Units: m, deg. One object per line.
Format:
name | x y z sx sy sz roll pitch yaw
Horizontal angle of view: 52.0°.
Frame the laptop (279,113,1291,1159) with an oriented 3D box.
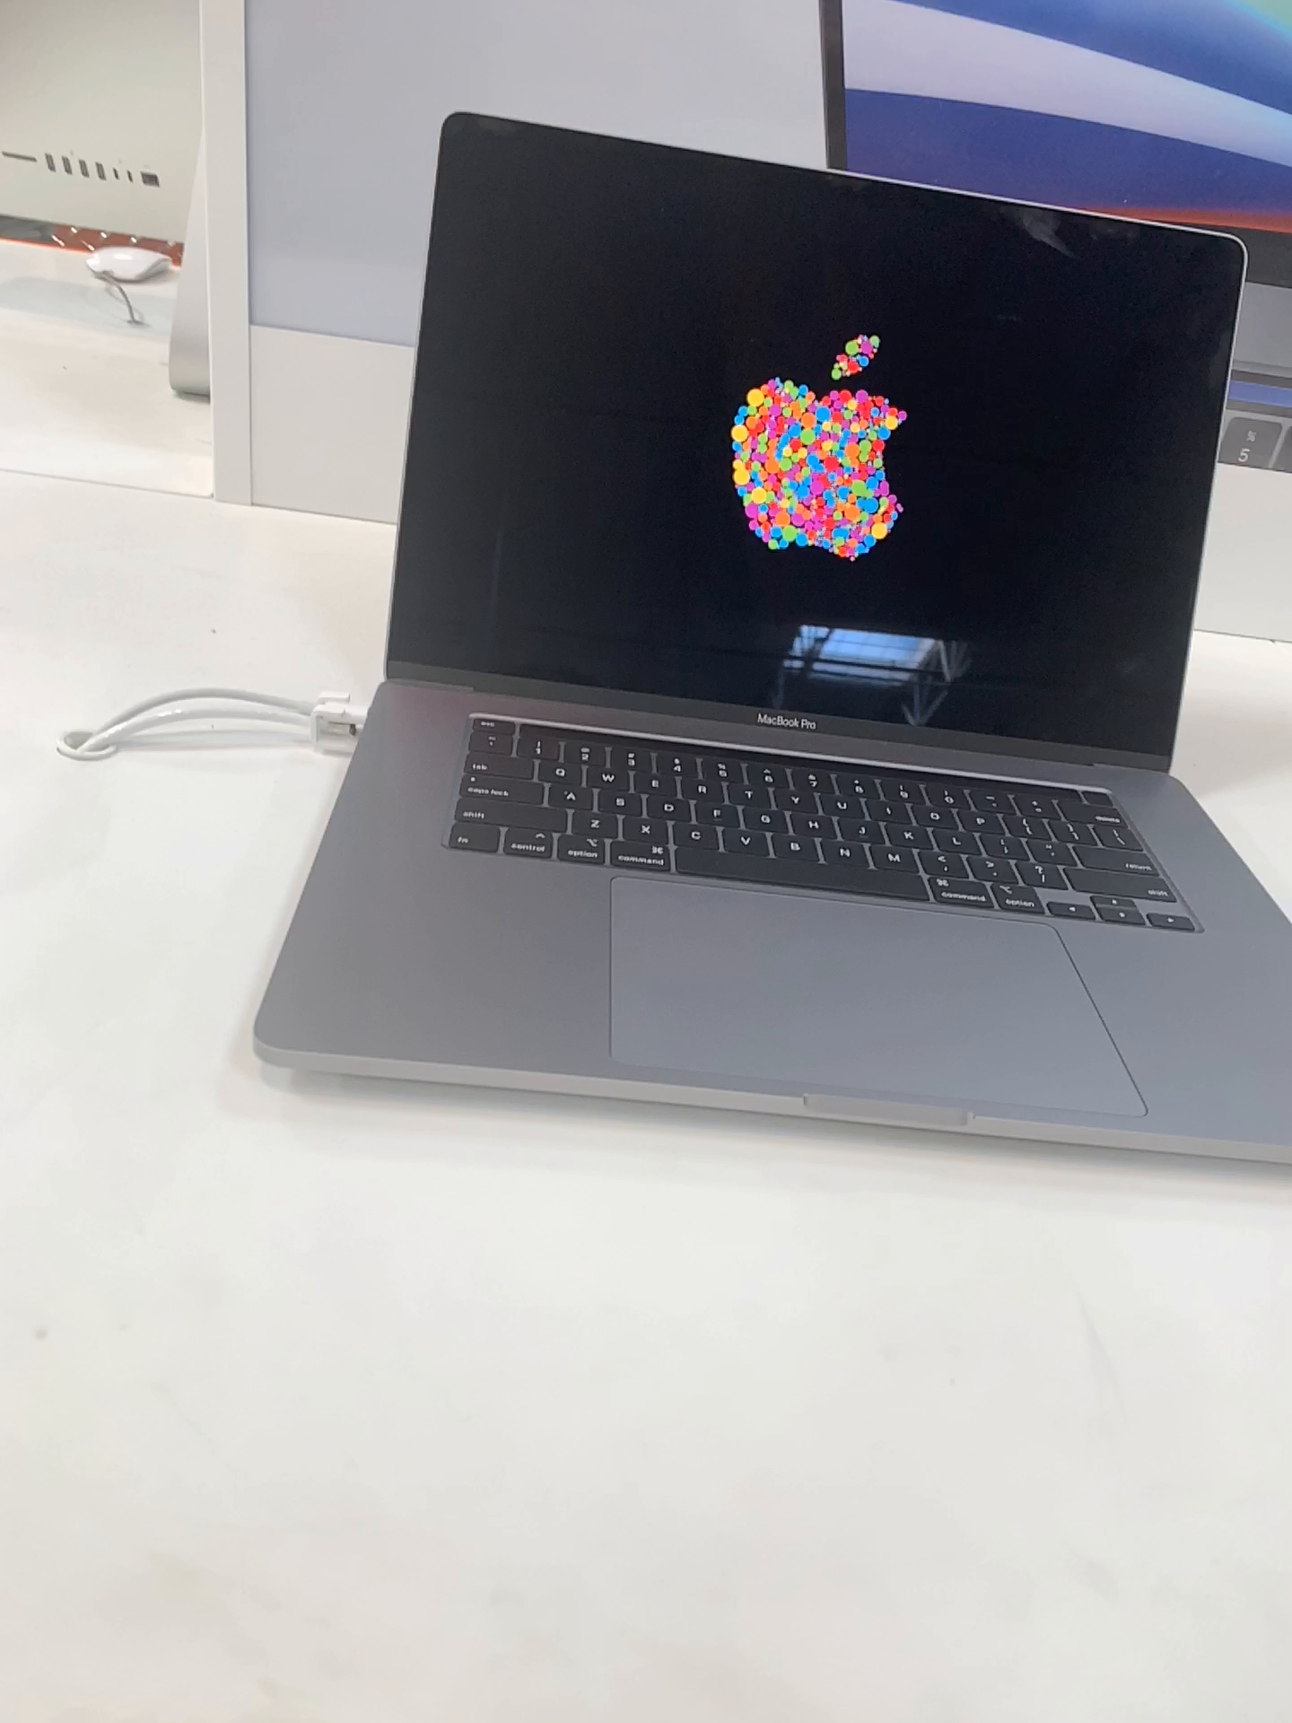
laptop | 0.084 -0.109 0.457 0.341 0.203 0.347 6 31 -6
